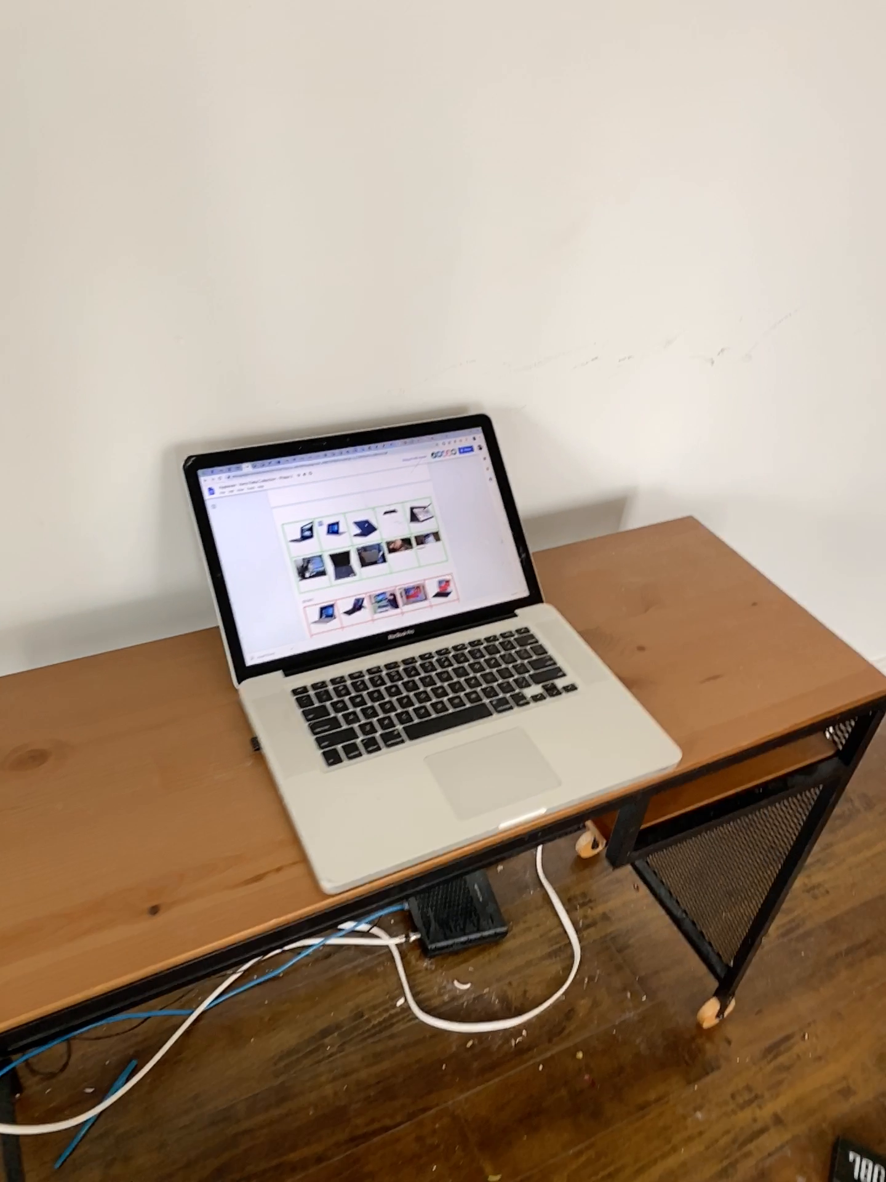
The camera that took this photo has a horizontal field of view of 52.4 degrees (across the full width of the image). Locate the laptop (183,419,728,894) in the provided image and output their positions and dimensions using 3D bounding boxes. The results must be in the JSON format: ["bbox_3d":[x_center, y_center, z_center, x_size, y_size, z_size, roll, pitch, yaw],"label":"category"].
[{"bbox_3d":[-0.017,0.019,0.907,0.368,0.151,0.441,-13,42,-23],"label":"laptop"}]
